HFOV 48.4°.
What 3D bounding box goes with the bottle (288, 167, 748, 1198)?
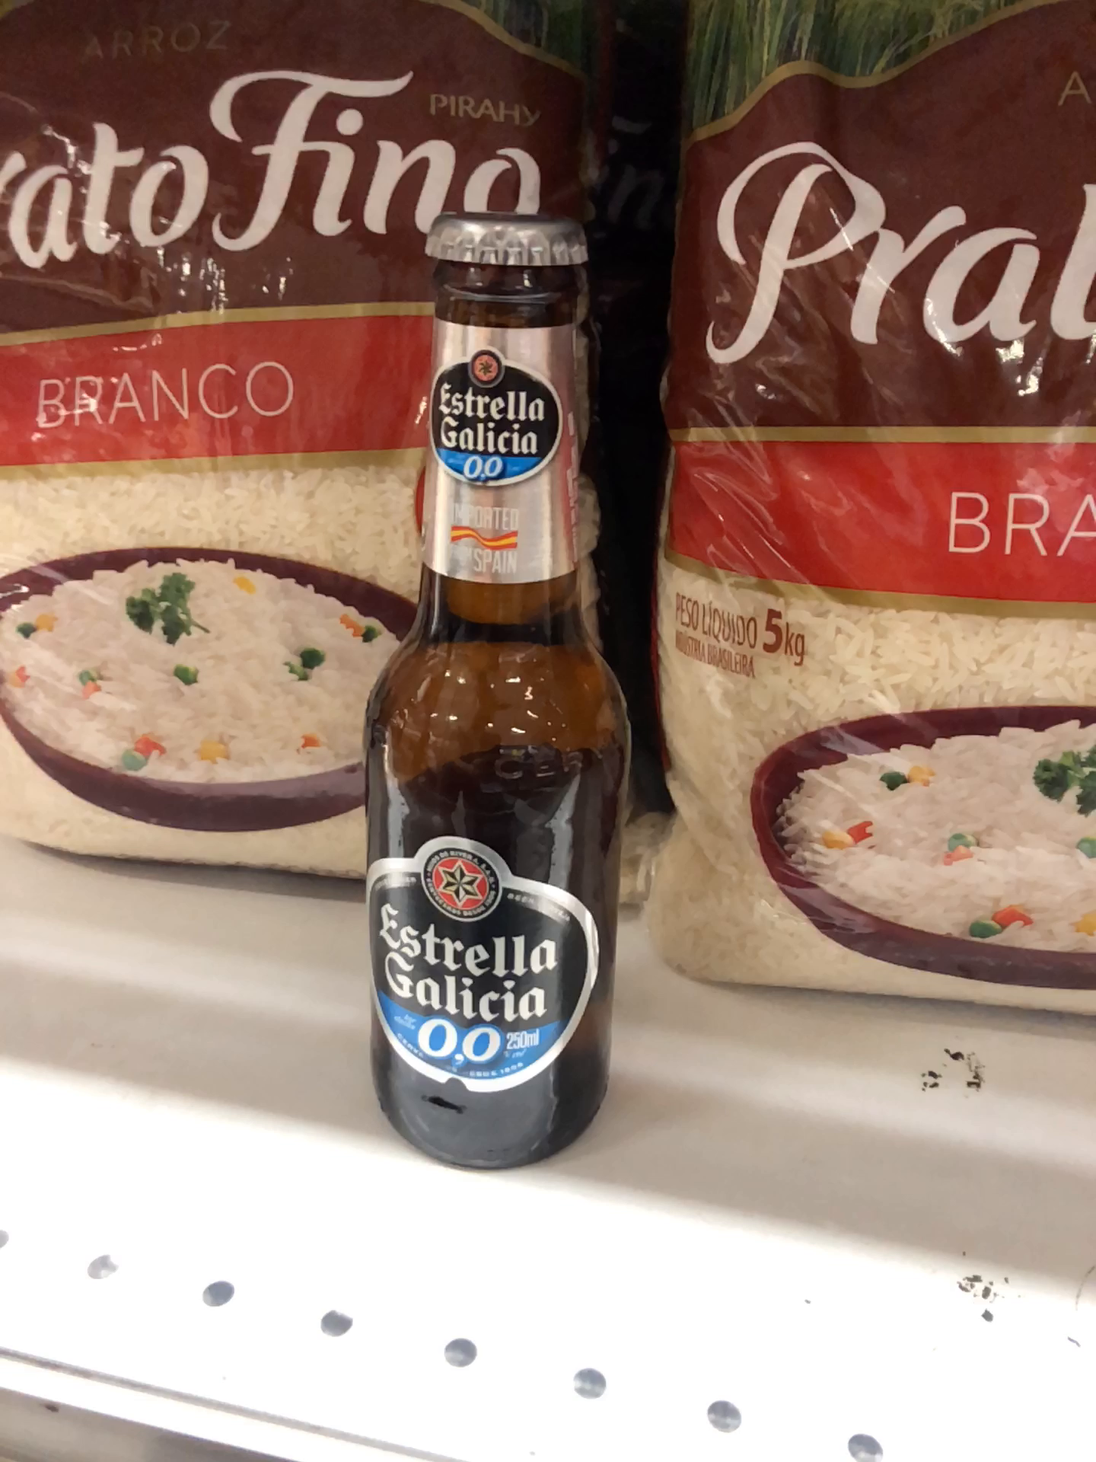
[{"bbox_3d":[-0.005,-0.006,0.243,0.060,0.189,0.060,2,26,-1],"label":"bottle"}]
